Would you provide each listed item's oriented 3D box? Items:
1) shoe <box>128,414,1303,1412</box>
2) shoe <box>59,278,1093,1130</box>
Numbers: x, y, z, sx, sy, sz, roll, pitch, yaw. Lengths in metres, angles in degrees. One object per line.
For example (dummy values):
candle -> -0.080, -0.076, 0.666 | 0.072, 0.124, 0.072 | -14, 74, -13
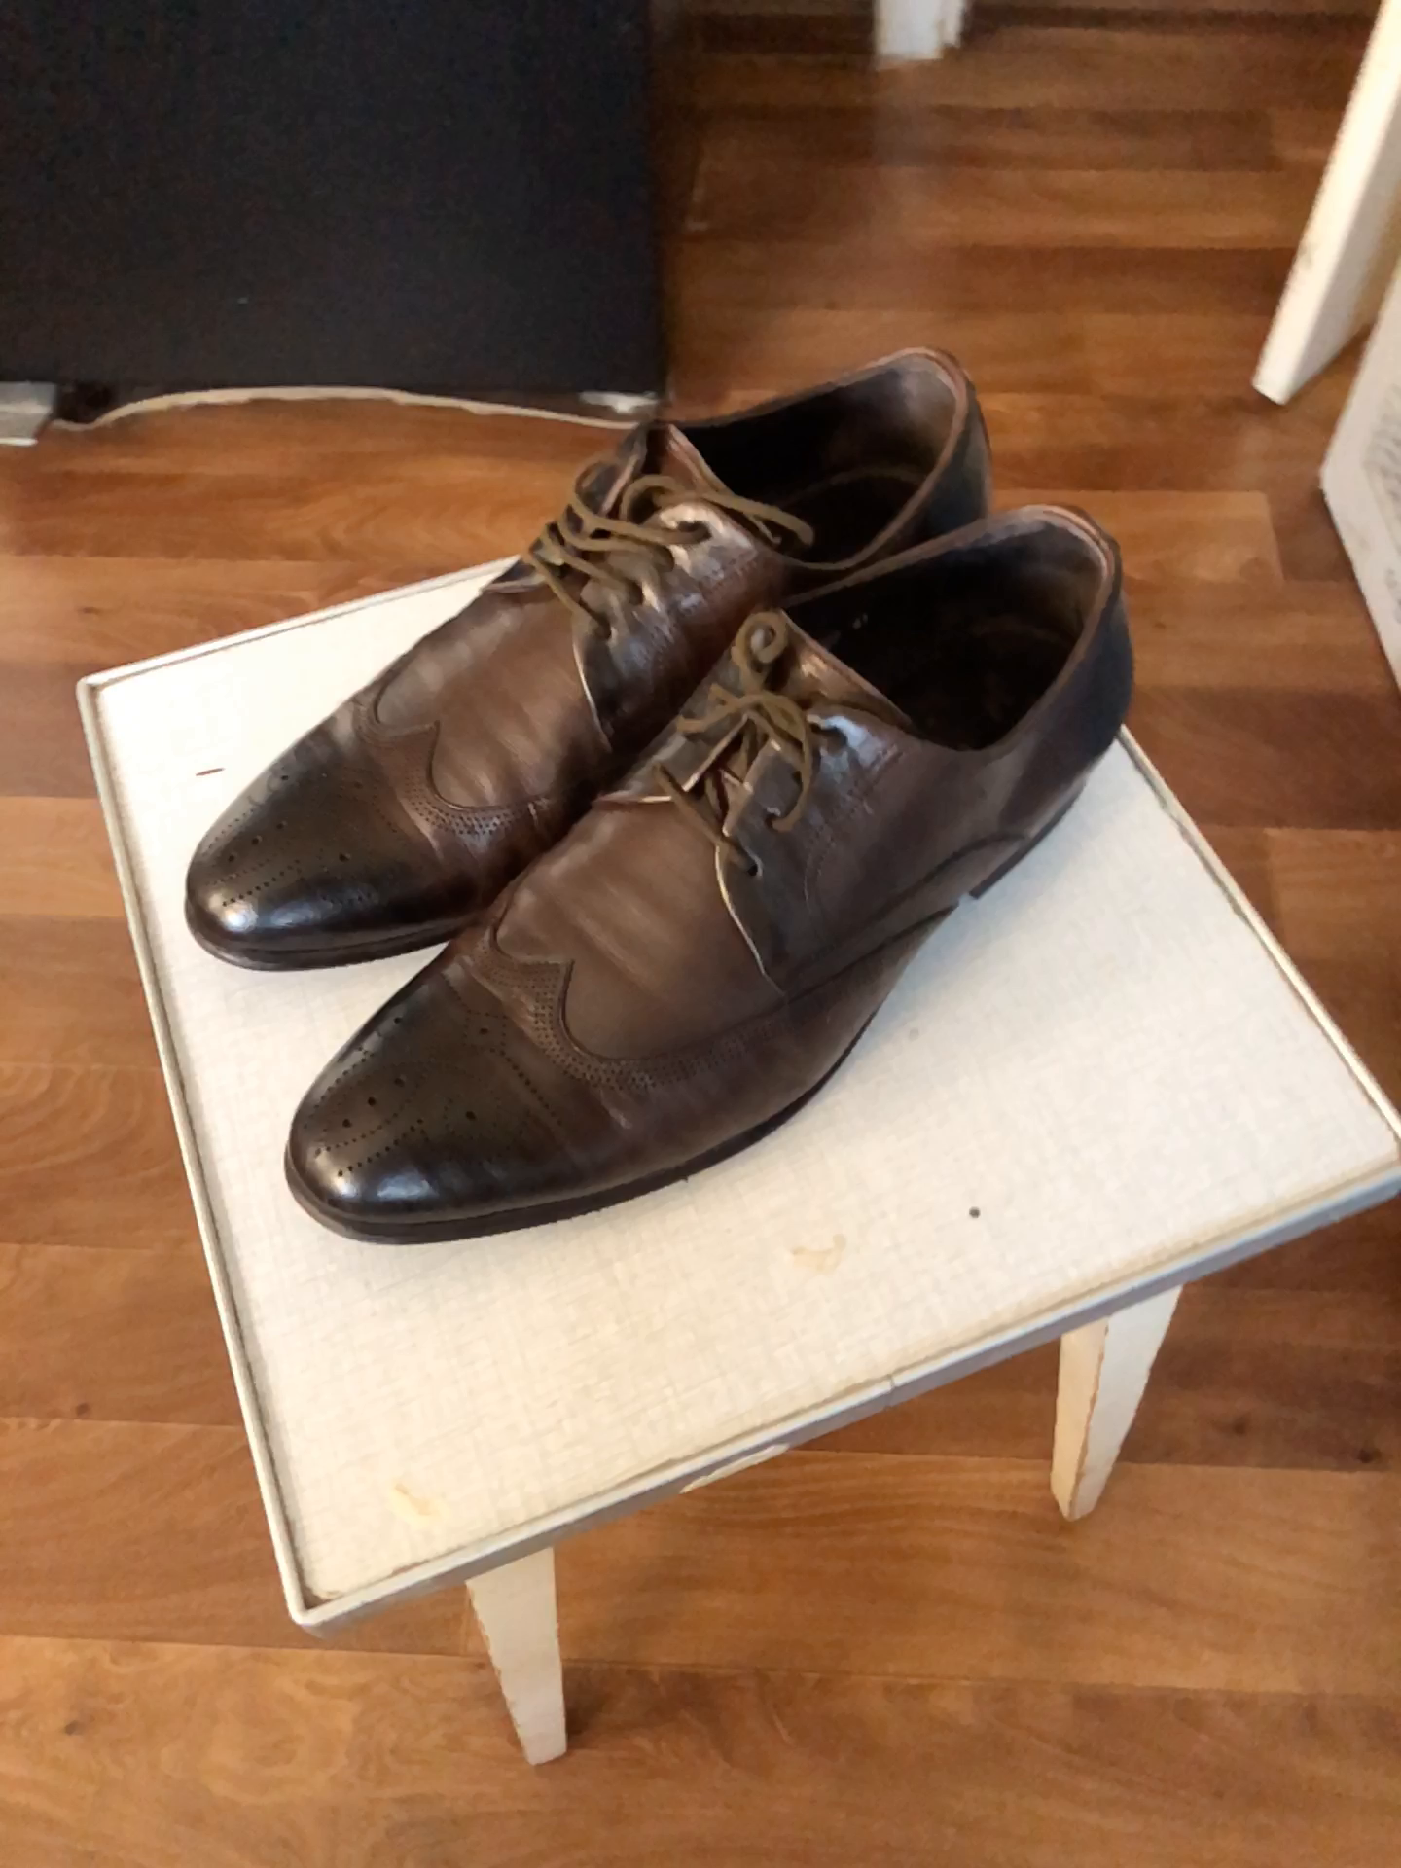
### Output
shoe -> 0.014, -0.015, 0.421 | 0.291, 0.099, 0.100 | -34, 63, -19
shoe -> -0.026, -0.079, 0.480 | 0.291, 0.099, 0.100 | -34, 63, -19
